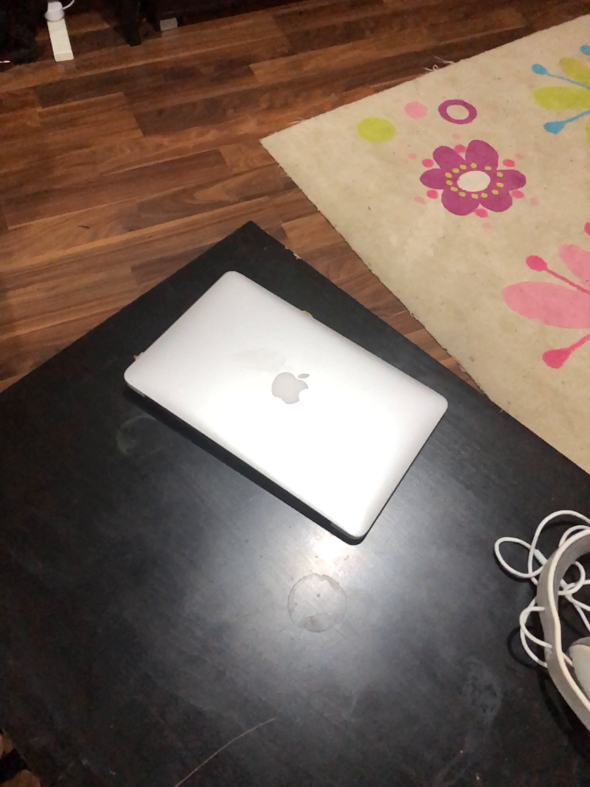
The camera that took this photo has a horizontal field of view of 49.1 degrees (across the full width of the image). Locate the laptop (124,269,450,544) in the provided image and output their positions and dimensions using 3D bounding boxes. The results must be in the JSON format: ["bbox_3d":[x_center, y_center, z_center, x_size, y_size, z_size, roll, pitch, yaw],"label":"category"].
[{"bbox_3d":[-0.007,0.001,0.712,0.300,0.011,0.190,33,66,12],"label":"laptop"}]
